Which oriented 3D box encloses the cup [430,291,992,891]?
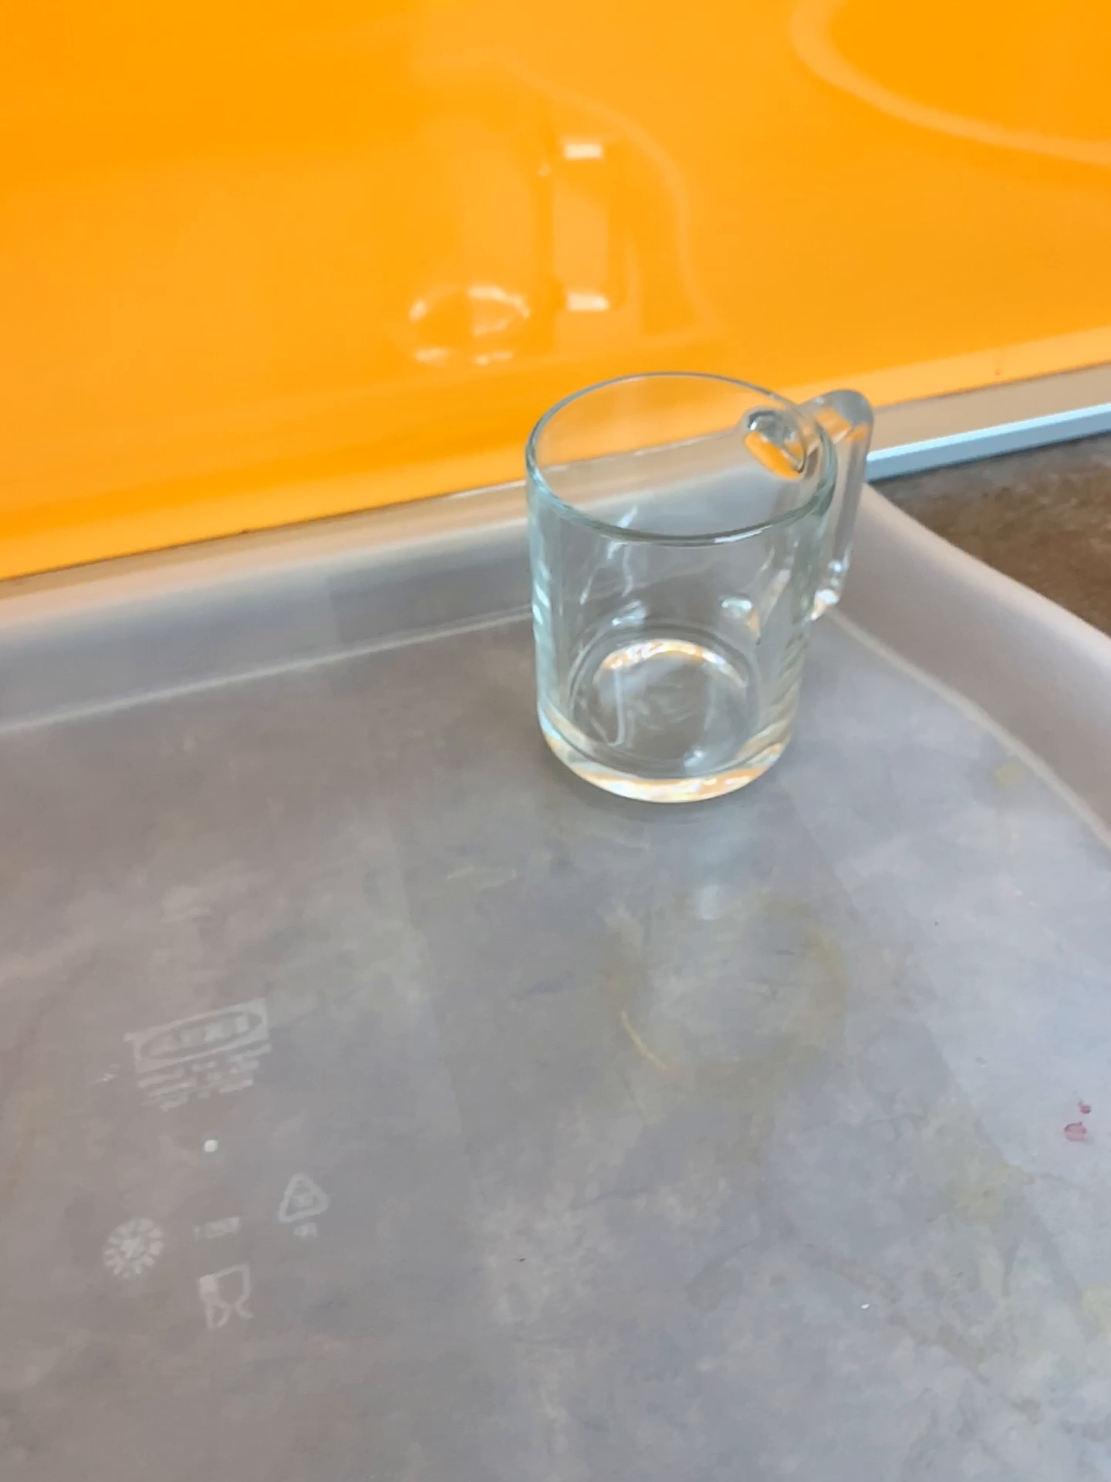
[{"bbox_3d":[0.037,-0.043,0.317,0.109,0.104,0.081,-28,53,-24],"label":"cup"}]
